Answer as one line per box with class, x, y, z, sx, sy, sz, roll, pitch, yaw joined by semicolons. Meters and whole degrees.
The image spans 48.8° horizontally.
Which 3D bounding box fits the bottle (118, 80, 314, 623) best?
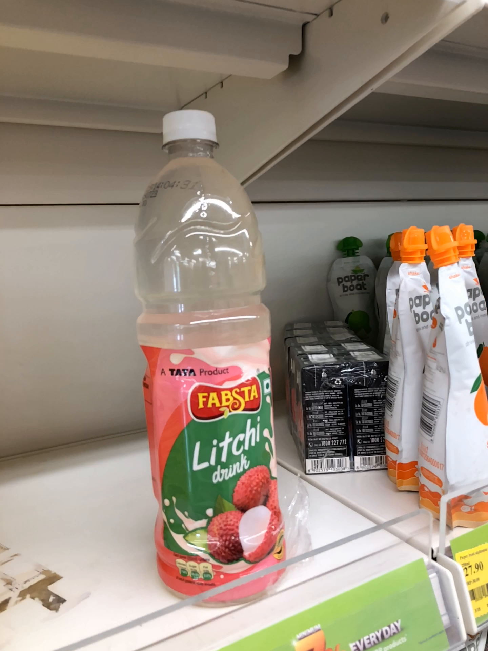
bottle;-0.016;0.014;0.307;0.080;0.269;0.070;-6;9;-17
